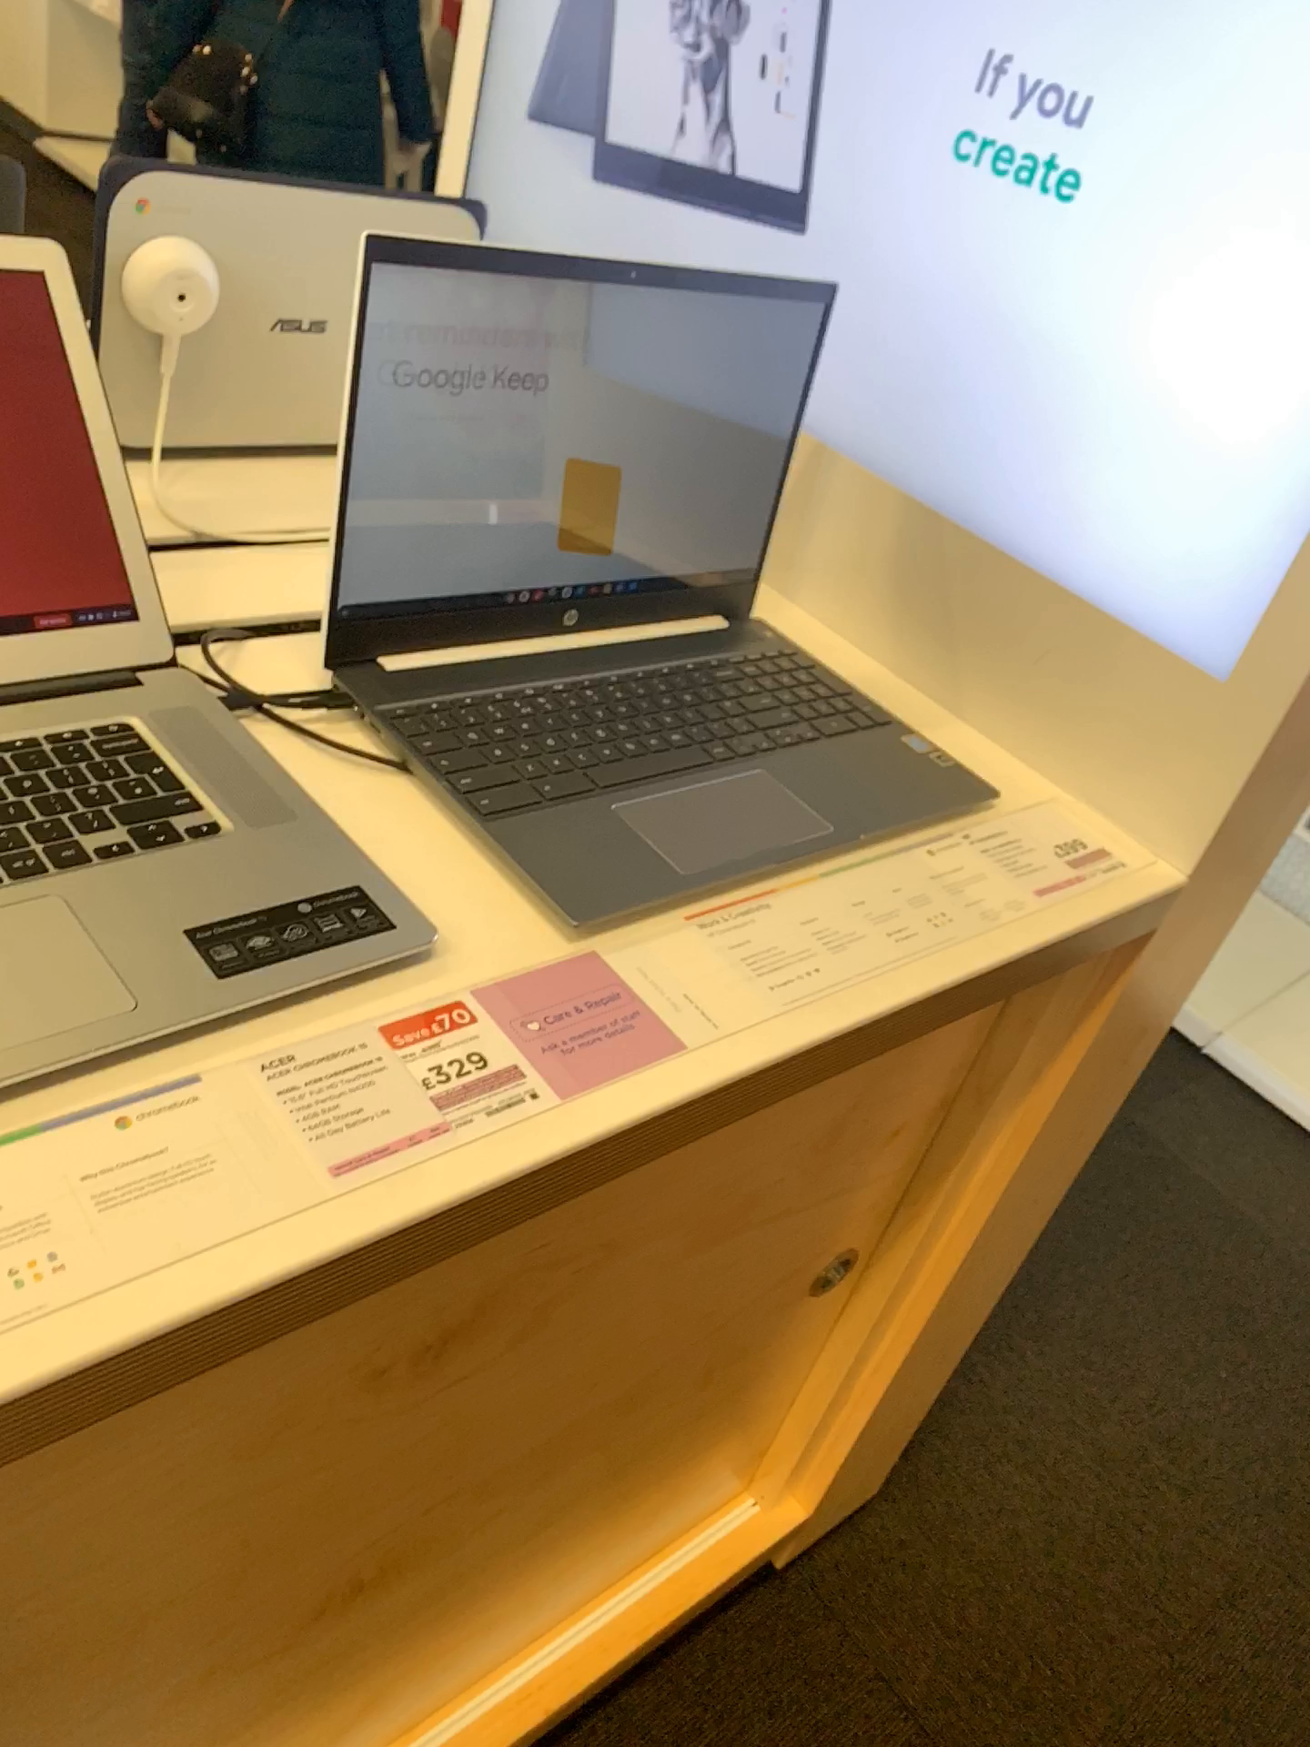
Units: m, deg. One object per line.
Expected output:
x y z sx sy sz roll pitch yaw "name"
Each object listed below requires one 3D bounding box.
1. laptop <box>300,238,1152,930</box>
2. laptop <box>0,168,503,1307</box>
0.036 -0.179 0.779 0.360 0.233 0.268 -16 46 -41 "laptop"
-0.351 -0.116 0.566 0.377 0.174 0.426 -18 48 -41 "laptop"
